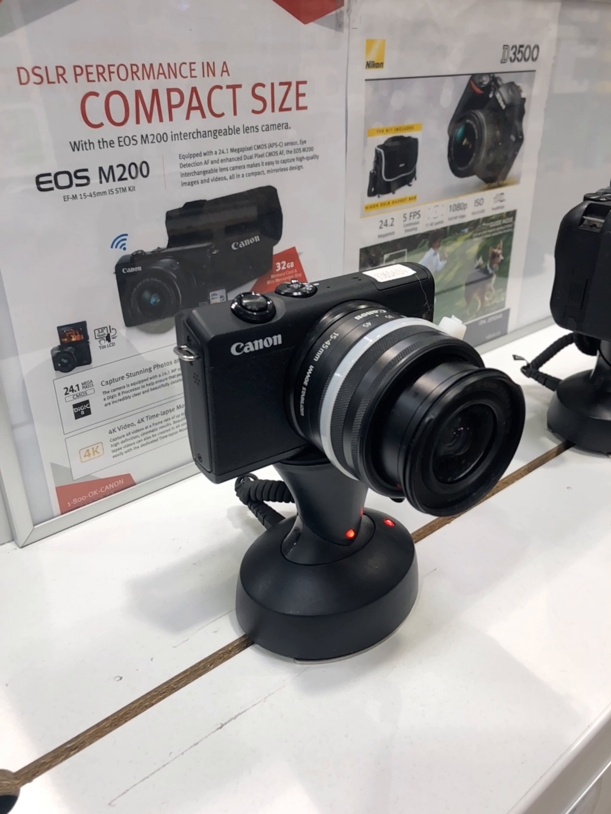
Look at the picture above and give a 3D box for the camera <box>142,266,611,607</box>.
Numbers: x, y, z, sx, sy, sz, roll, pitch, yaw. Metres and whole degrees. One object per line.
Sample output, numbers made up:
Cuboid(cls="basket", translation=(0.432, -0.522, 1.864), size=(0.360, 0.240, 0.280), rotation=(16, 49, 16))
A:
Cuboid(cls="camera", translation=(0.023, -0.005, 0.254), size=(0.120, 0.050, 0.120), rotation=(-19, 33, -32))
